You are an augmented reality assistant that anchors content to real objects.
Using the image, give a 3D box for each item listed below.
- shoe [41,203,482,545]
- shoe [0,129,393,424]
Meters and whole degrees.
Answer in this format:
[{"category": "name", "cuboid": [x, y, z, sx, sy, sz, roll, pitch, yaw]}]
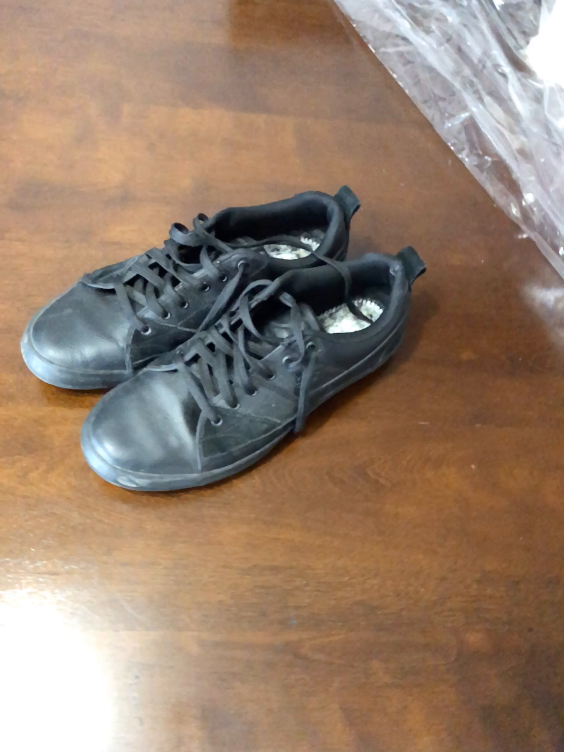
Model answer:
[{"category": "shoe", "cuboid": [-0.009, -0.007, 0.490, 0.300, 0.110, 0.110, -28, 68, -20]}, {"category": "shoe", "cuboid": [-0.074, -0.088, 0.524, 0.300, 0.110, 0.110, -23, 67, -18]}]
